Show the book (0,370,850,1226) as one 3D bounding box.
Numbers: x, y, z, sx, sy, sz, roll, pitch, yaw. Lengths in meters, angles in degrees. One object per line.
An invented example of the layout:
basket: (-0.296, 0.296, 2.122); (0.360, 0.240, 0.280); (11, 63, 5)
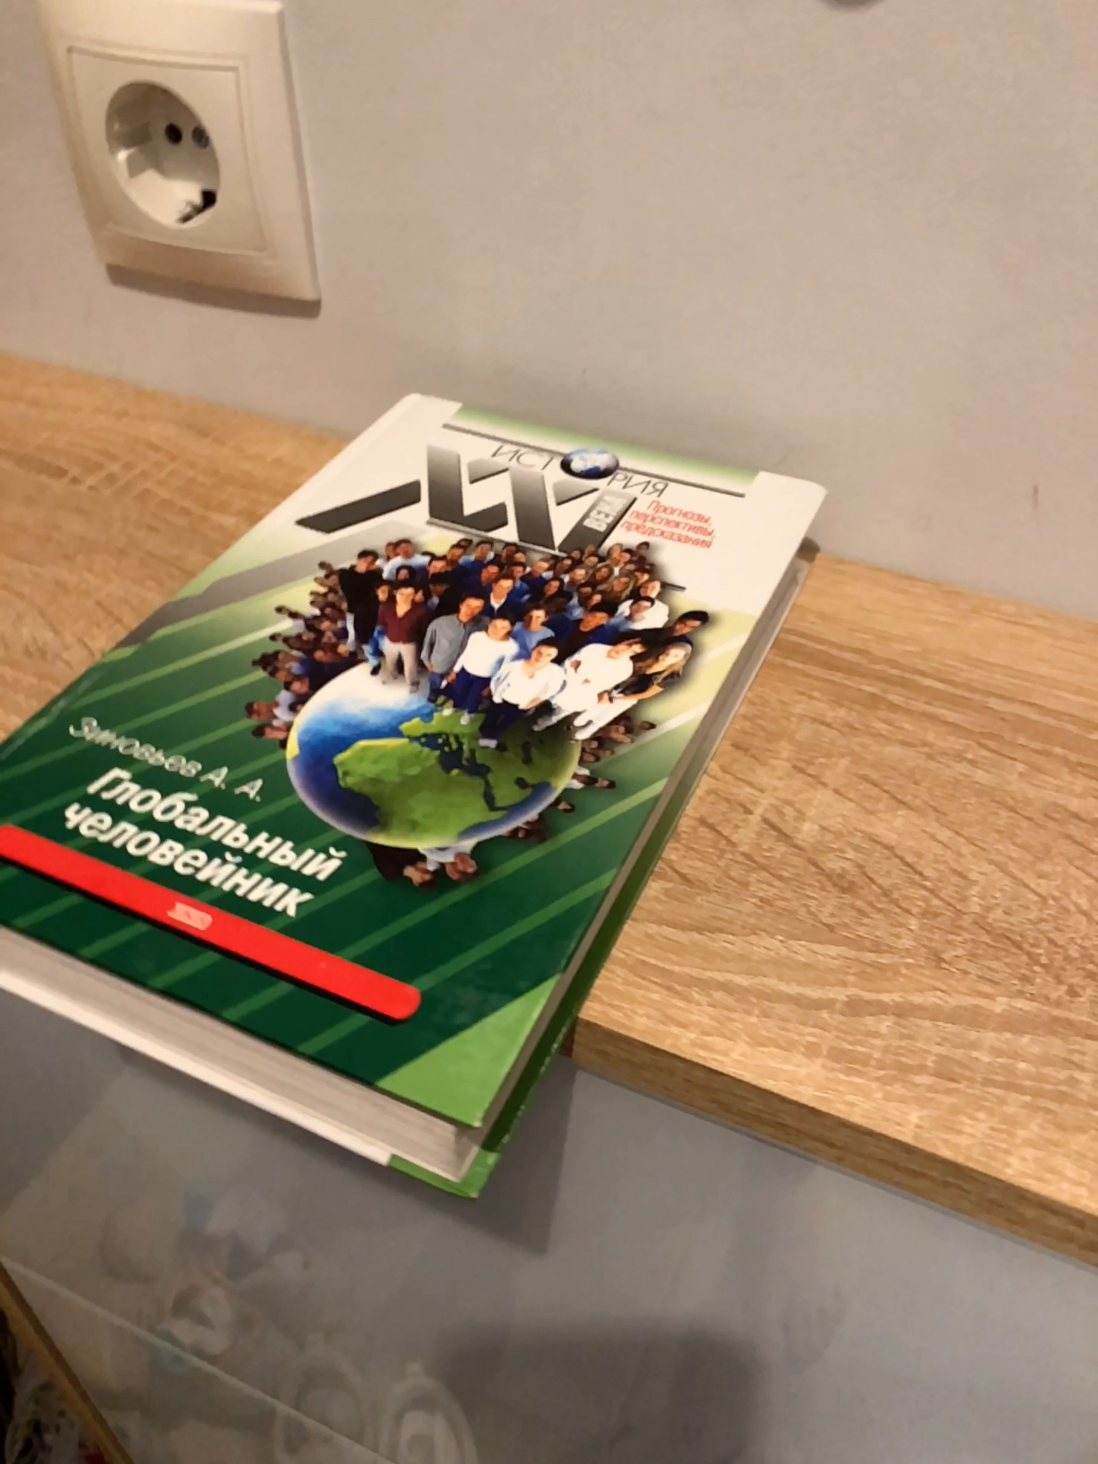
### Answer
book: (-0.028, -0.017, 0.282); (0.140, 0.020, 0.221); (17, 45, 18)
